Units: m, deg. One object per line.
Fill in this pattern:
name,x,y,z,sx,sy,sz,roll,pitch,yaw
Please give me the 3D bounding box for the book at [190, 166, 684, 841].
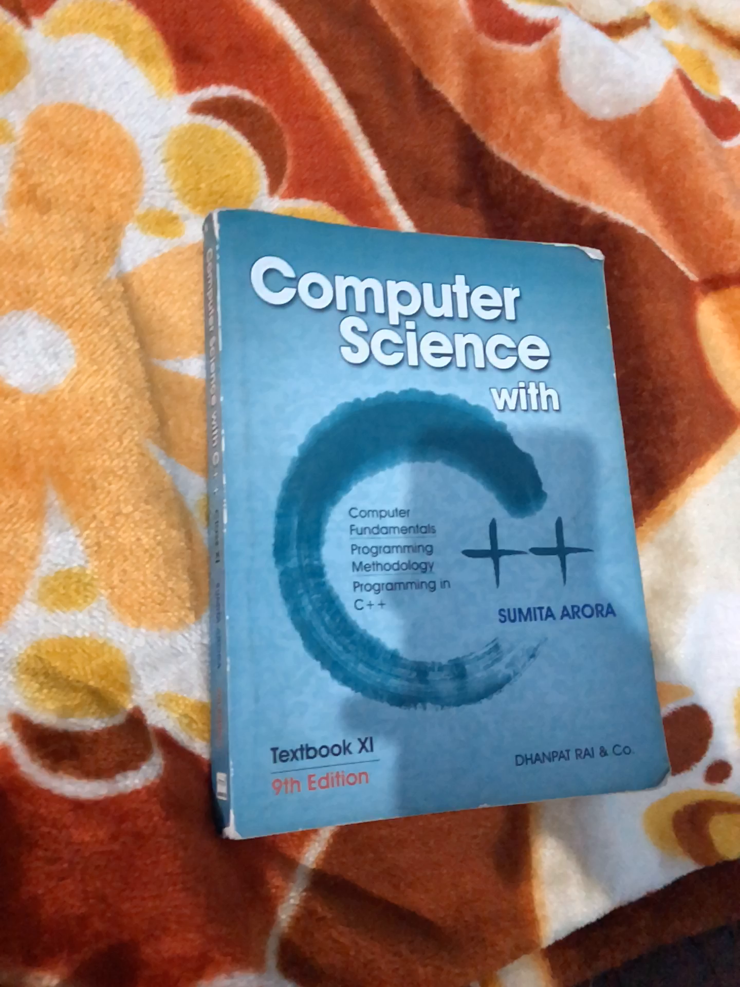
book,0.028,-0.001,0.377,0.210,0.040,0.270,1,79,-19
